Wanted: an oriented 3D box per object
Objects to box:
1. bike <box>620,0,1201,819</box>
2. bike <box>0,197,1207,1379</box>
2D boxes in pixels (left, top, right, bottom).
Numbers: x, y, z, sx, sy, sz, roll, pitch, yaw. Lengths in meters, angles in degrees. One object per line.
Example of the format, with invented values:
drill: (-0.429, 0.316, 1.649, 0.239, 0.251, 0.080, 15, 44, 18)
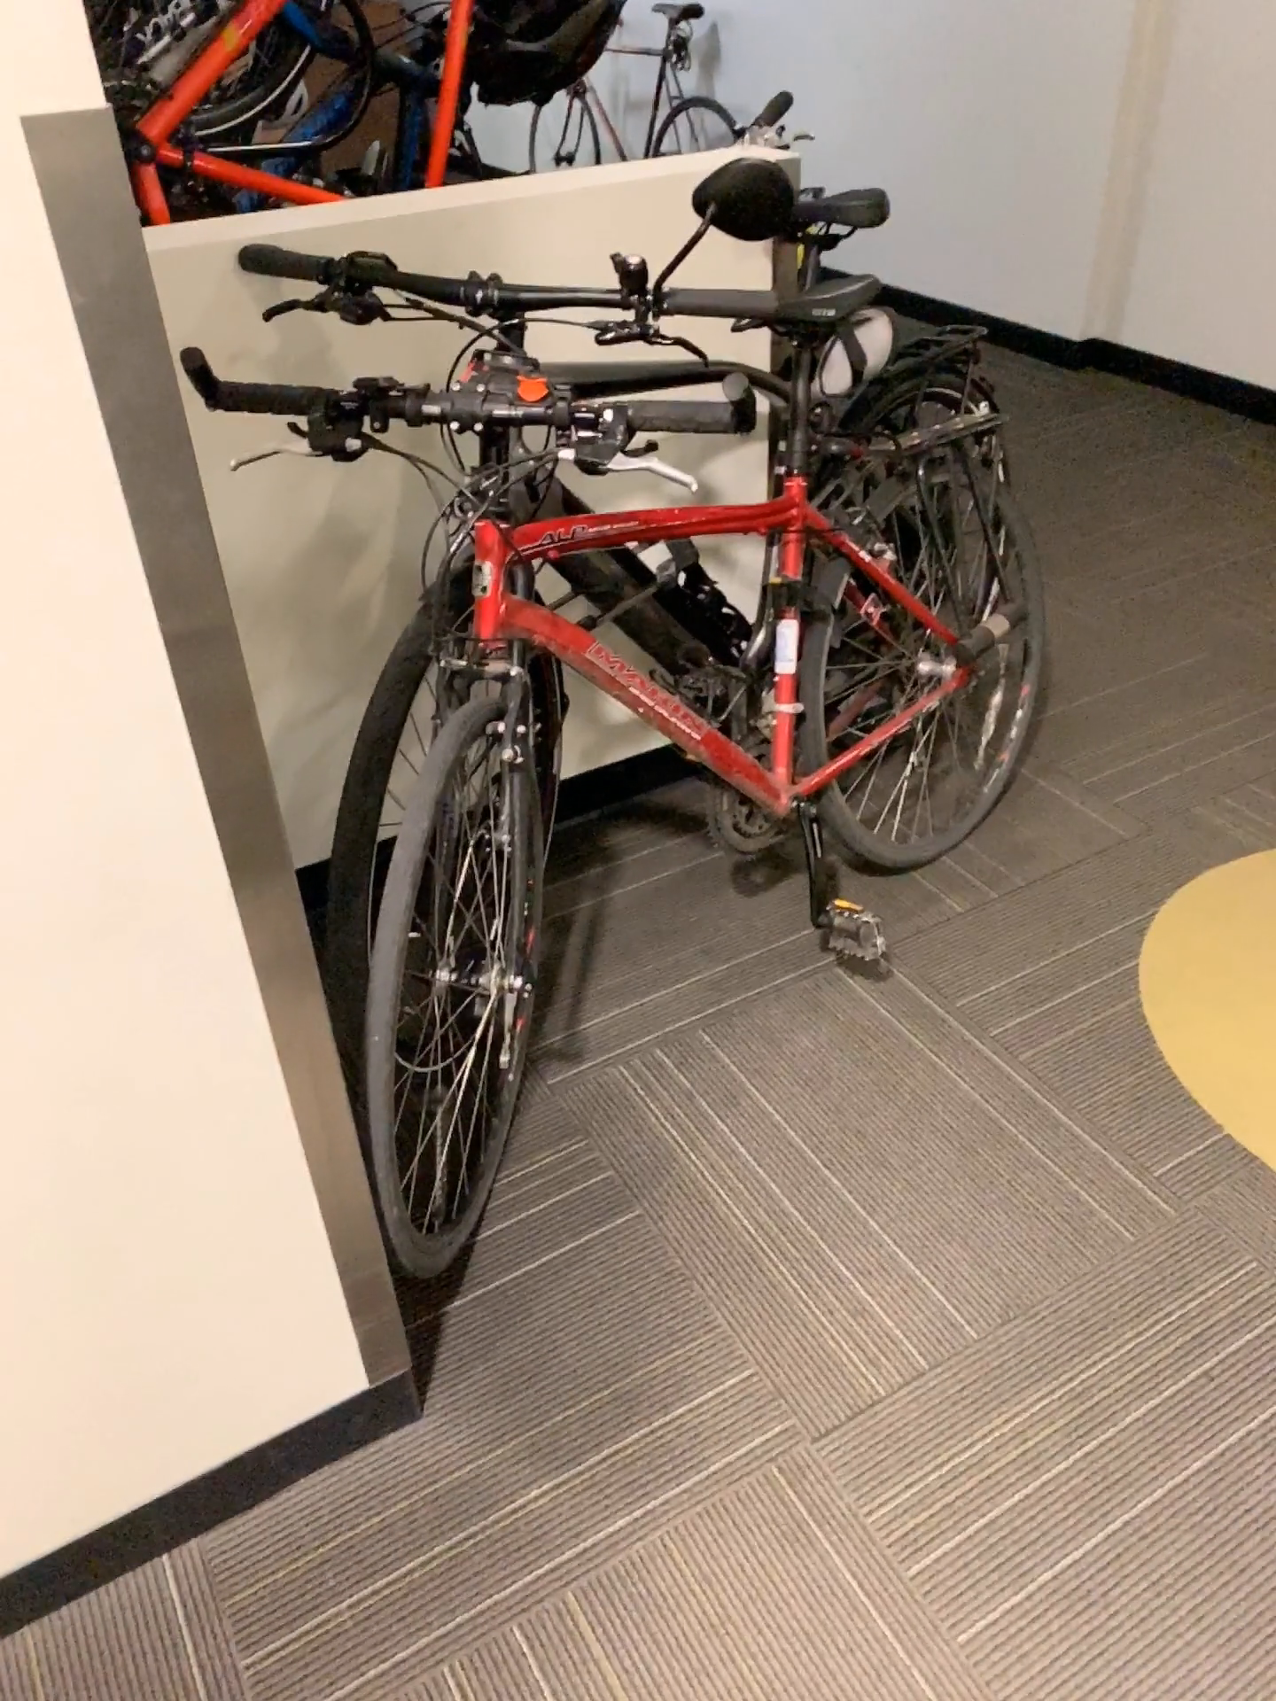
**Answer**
bike: (0.460, -0.727, 2.328, 0.695, 1.148, 0.727, 23, 38, 31)
bike: (0.154, -0.297, 1.774, 0.605, 0.927, 1.615, 22, 38, 30)
